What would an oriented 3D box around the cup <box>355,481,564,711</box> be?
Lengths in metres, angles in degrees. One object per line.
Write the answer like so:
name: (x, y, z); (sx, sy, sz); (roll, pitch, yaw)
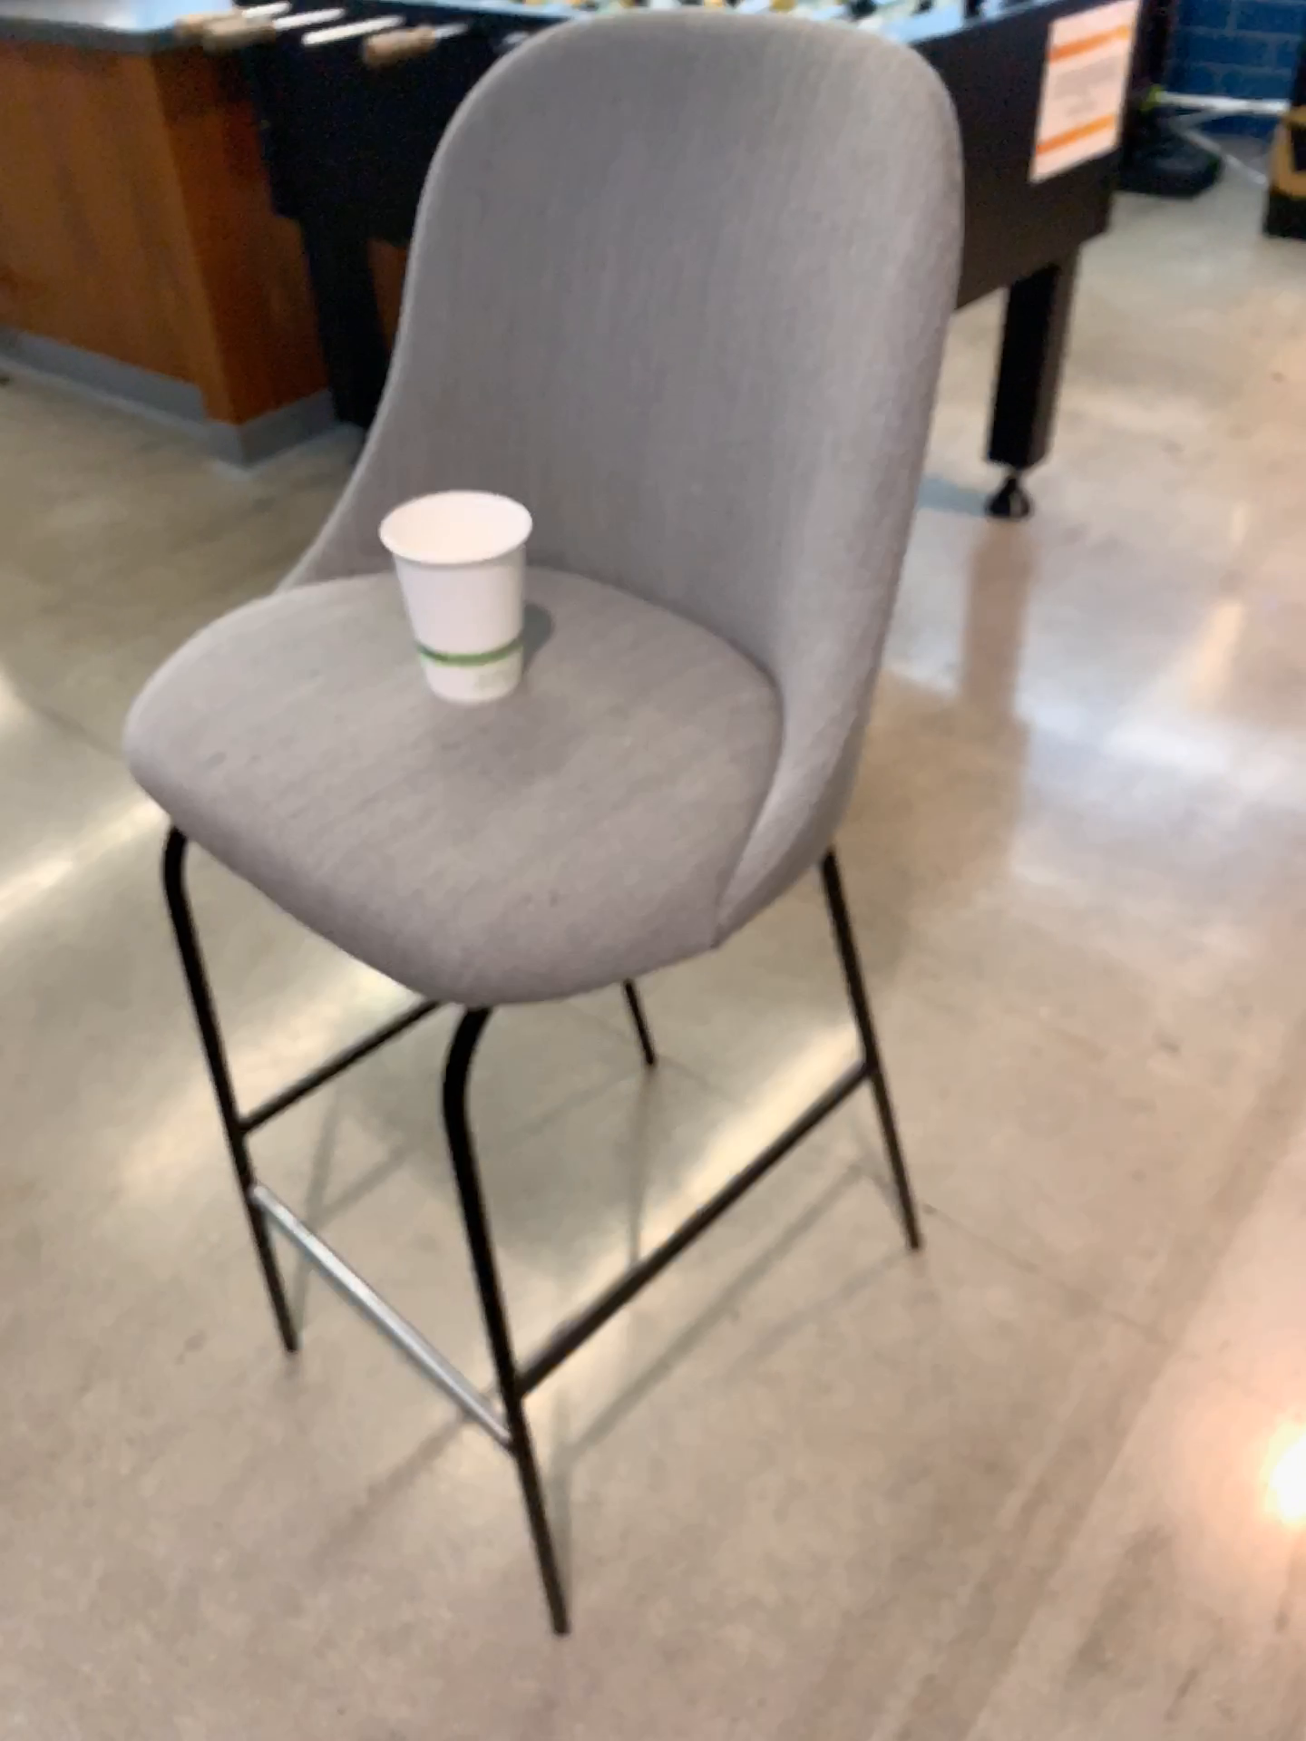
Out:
cup: (-0.111, -0.165, 0.815); (0.090, 0.099, 0.090); (-2, 40, 1)
